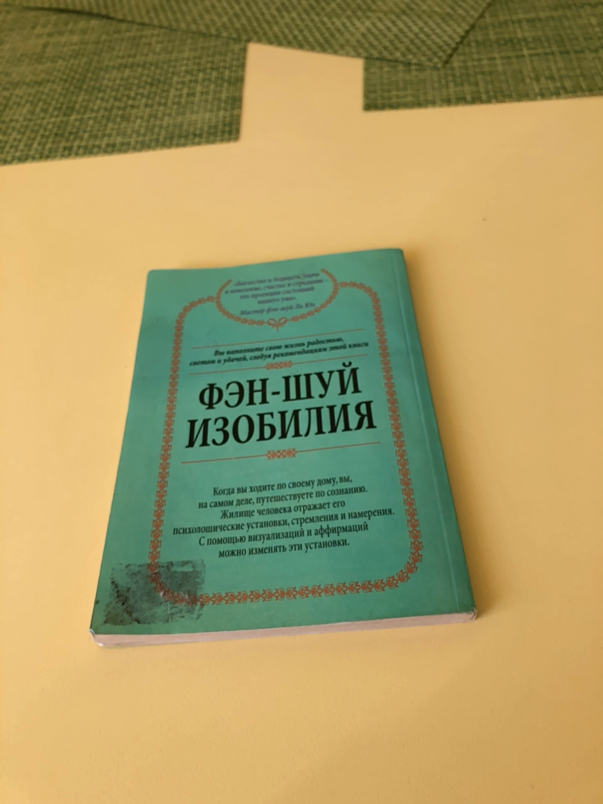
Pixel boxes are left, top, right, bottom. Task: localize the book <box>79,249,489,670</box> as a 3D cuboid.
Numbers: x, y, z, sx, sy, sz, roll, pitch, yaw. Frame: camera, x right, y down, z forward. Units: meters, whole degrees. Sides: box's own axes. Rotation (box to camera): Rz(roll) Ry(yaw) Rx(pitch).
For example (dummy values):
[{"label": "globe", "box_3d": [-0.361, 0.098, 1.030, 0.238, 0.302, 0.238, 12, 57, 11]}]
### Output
[{"label": "book", "box_3d": [-0.008, 0.008, 0.253, 0.118, 0.020, 0.167, -5, 50, 2]}]
